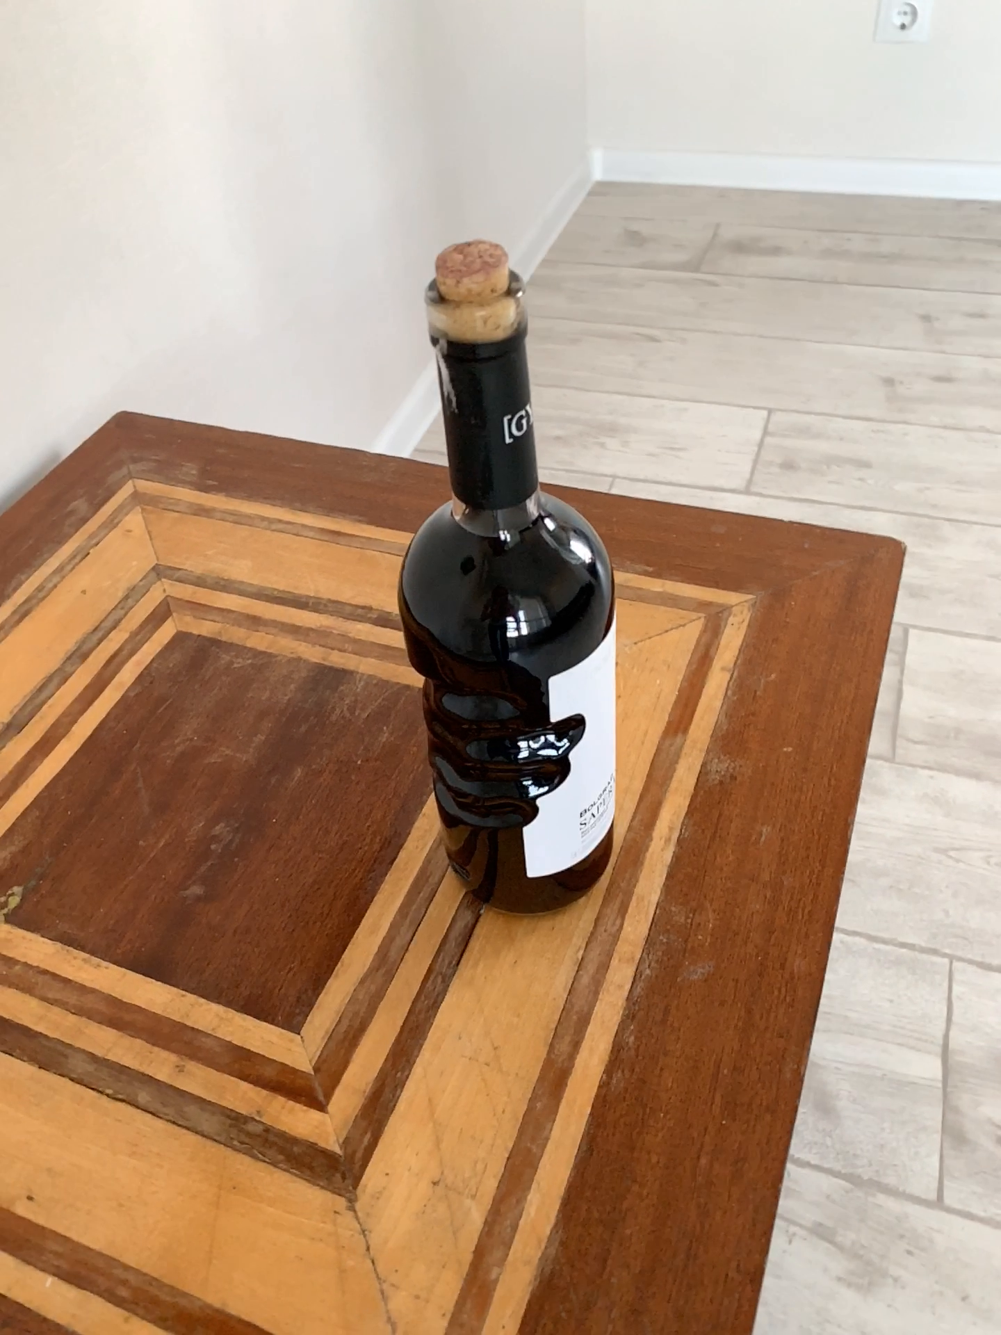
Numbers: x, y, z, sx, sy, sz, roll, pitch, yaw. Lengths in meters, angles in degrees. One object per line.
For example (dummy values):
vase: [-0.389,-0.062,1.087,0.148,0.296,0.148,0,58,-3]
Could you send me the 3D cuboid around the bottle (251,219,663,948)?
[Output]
bottle: [0.002,-0.014,0.391,0.090,0.269,0.090,-4,45,4]
